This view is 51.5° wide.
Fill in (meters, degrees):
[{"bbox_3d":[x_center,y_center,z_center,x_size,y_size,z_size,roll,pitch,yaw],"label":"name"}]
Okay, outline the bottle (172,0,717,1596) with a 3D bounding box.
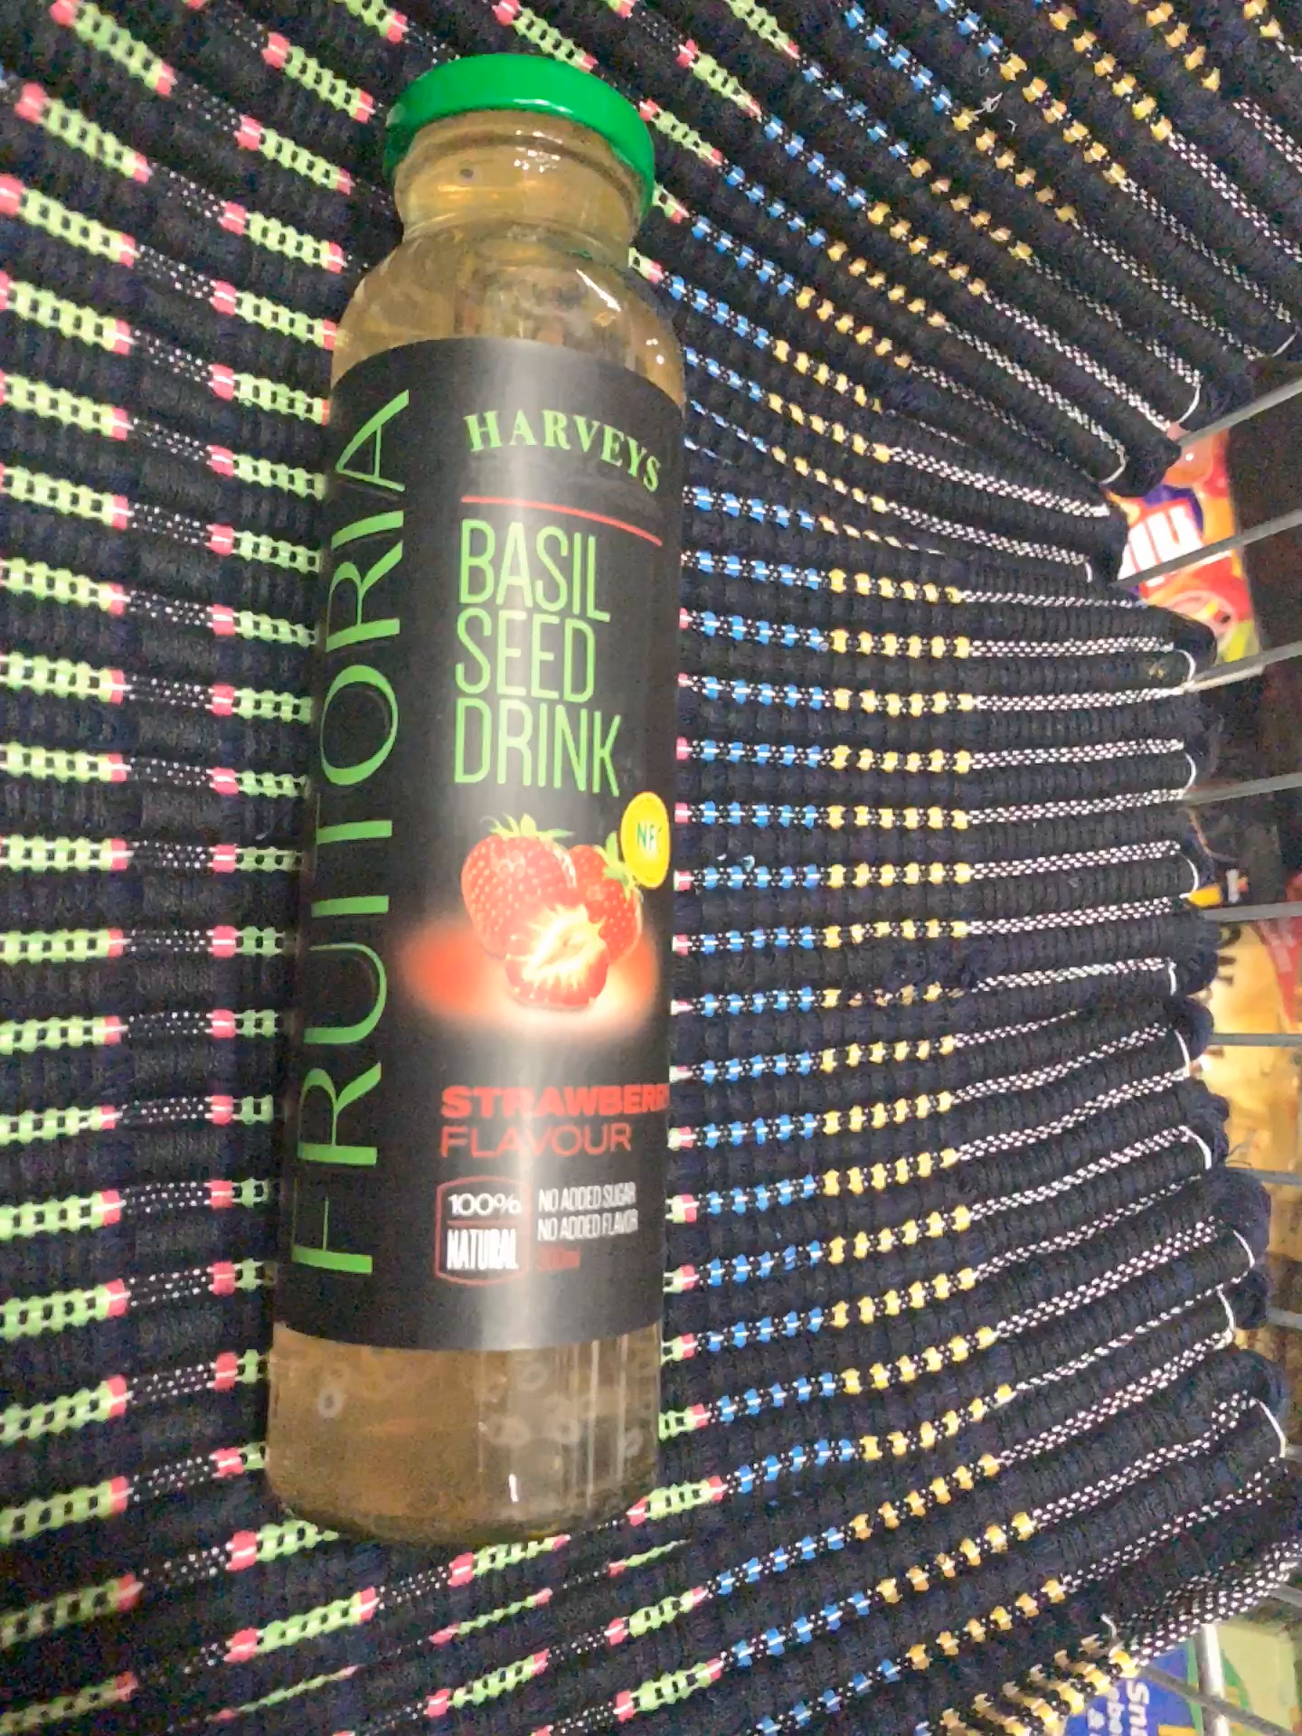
[{"bbox_3d":[-0.026,-0.024,0.198,0.060,0.060,0.220,2,80,-9],"label":"bottle"}]
